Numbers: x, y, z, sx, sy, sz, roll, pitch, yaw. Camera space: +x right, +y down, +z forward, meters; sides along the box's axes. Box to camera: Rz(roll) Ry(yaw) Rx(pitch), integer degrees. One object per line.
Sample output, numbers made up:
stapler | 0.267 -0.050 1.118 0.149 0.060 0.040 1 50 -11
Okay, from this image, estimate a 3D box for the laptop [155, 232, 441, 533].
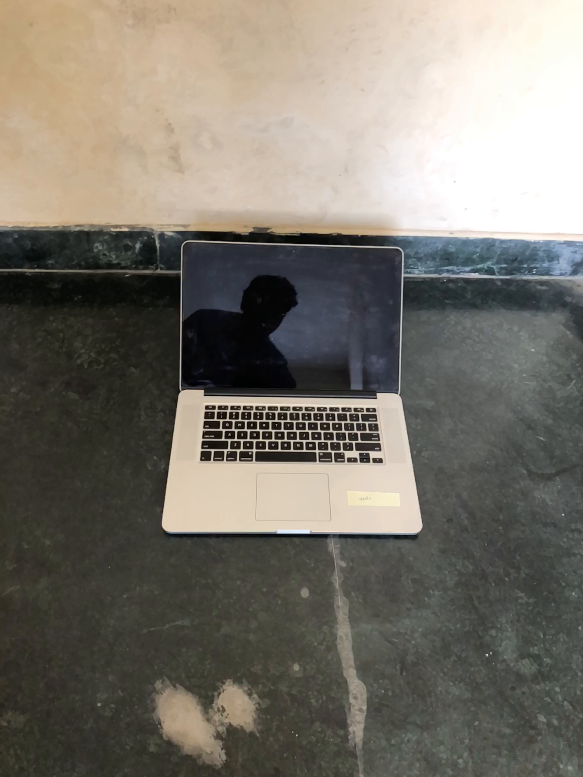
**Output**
laptop | 0.004 -0.027 0.941 0.342 0.130 0.435 1 54 -4
